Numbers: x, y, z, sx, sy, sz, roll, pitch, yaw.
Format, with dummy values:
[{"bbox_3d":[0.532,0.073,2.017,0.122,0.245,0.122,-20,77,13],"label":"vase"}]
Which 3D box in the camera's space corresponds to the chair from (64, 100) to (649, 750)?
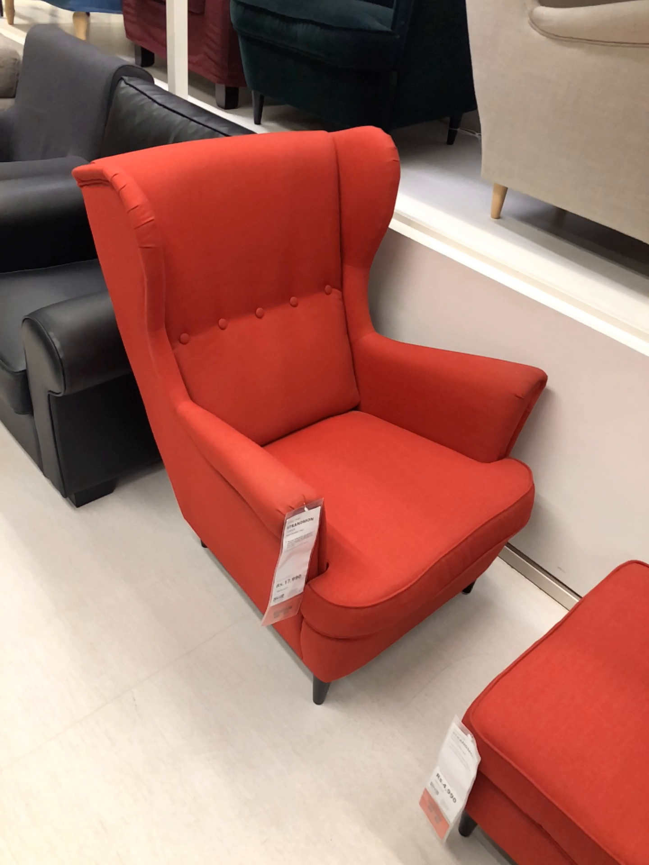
[{"bbox_3d":[0.074,-0.111,1.646,0.903,0.973,0.843,-25,48,-36],"label":"chair"}]
